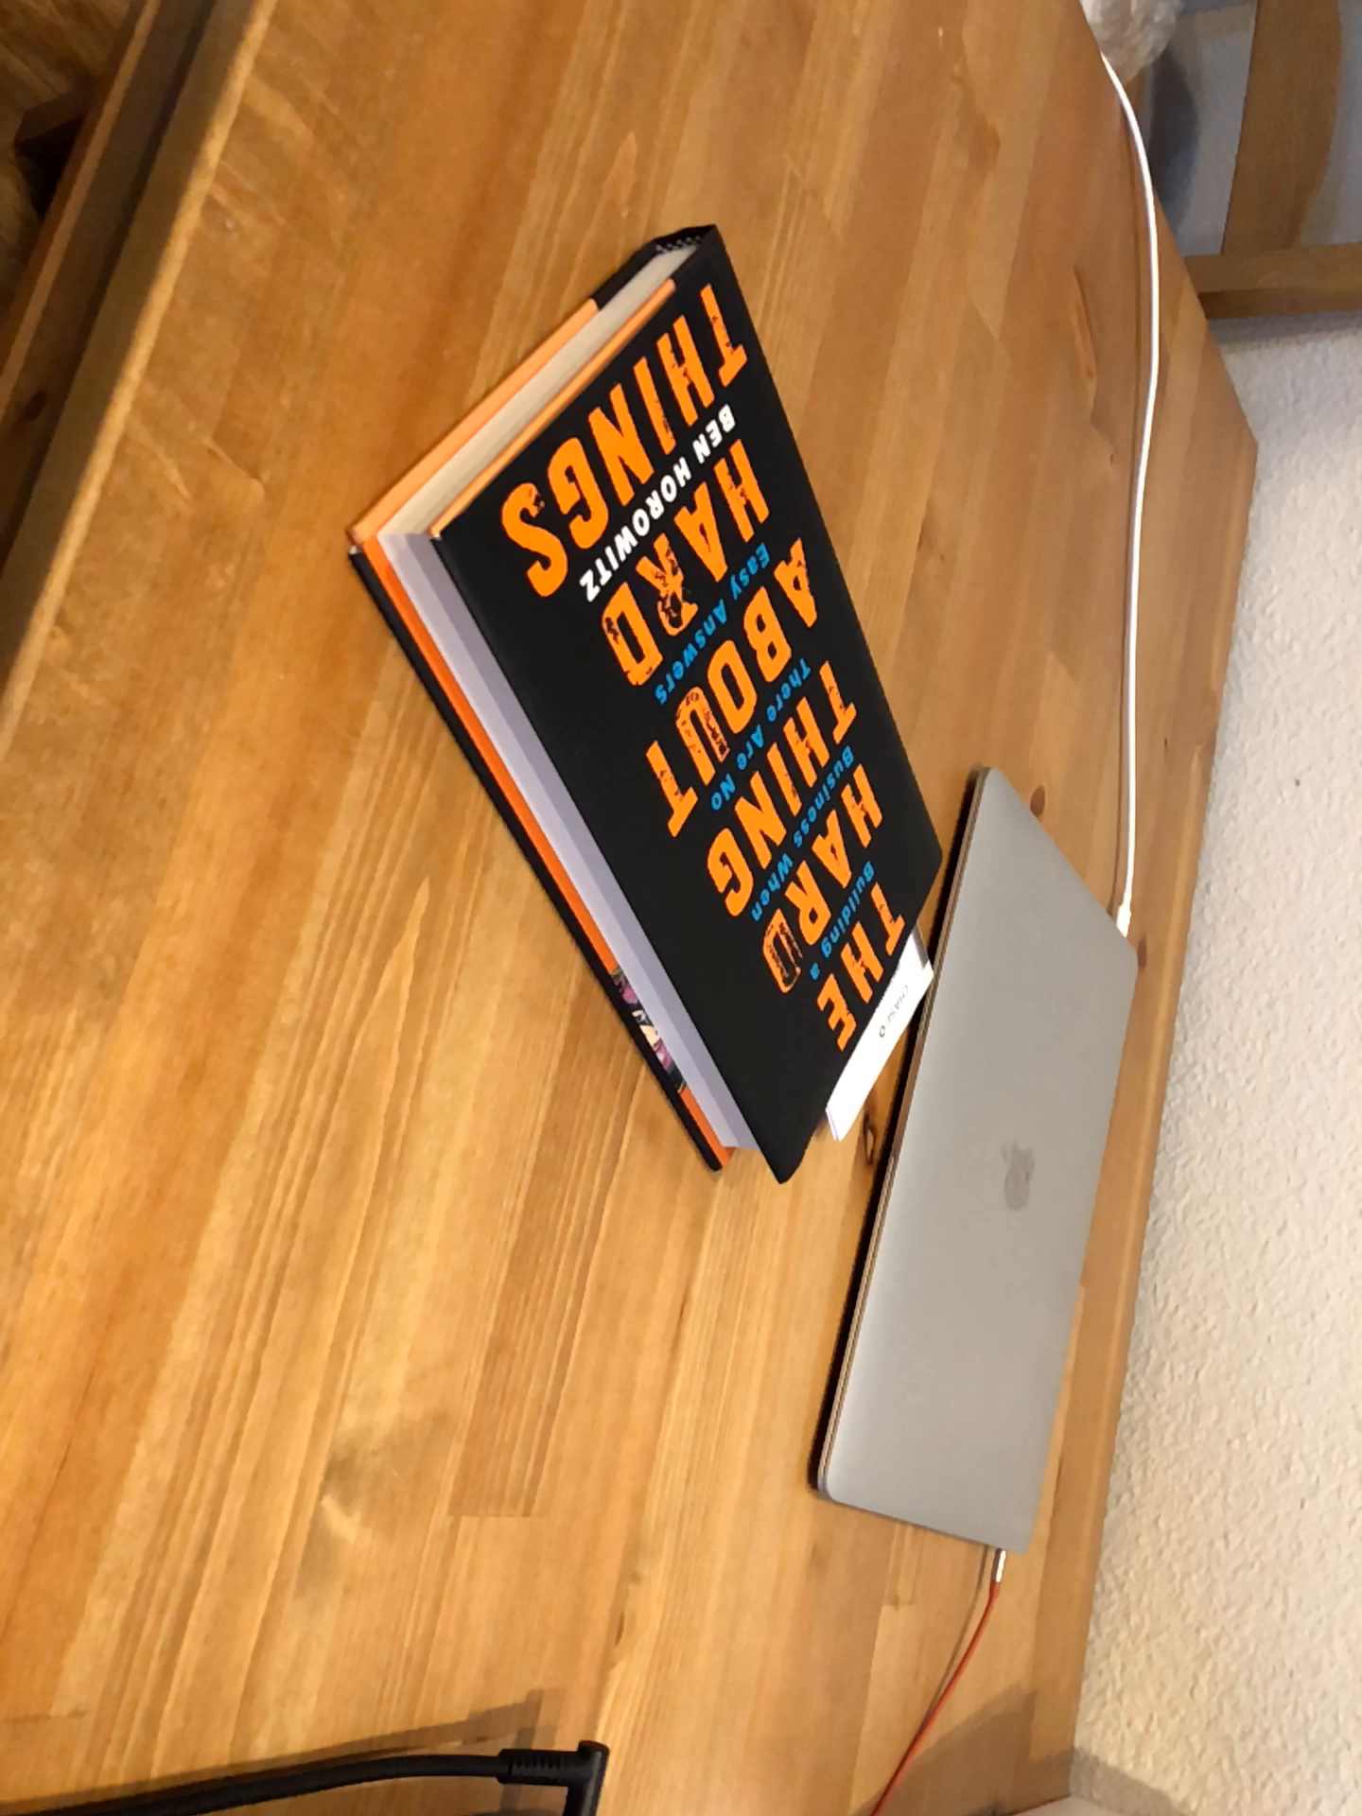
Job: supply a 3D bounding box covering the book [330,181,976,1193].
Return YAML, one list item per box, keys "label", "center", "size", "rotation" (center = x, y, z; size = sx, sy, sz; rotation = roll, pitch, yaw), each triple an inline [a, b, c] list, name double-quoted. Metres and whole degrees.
- label: "book"
  center: [0.014, -0.054, 0.418]
  size: [0.160, 0.030, 0.221]
  rotation: [-59, 137, -35]
